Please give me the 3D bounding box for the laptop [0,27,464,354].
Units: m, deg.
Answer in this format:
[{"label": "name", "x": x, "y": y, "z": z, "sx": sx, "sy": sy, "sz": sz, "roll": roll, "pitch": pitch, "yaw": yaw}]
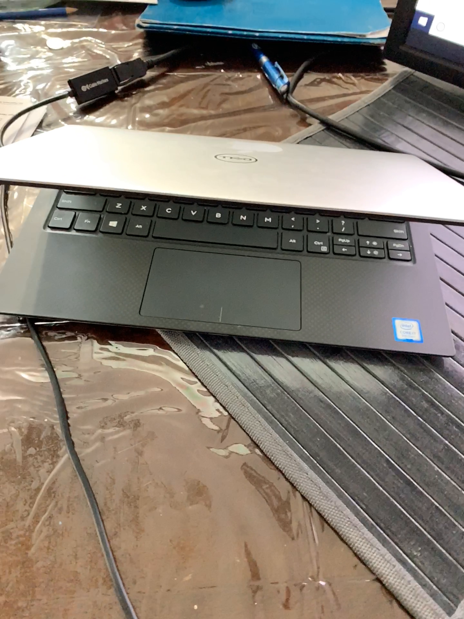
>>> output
[{"label": "laptop", "x": 0.002, "y": -0.084, "z": 0.313, "sx": 0.289, "sy": 0.082, "sz": 0.183, "roll": 5, "pitch": 55, "yaw": 0}]
